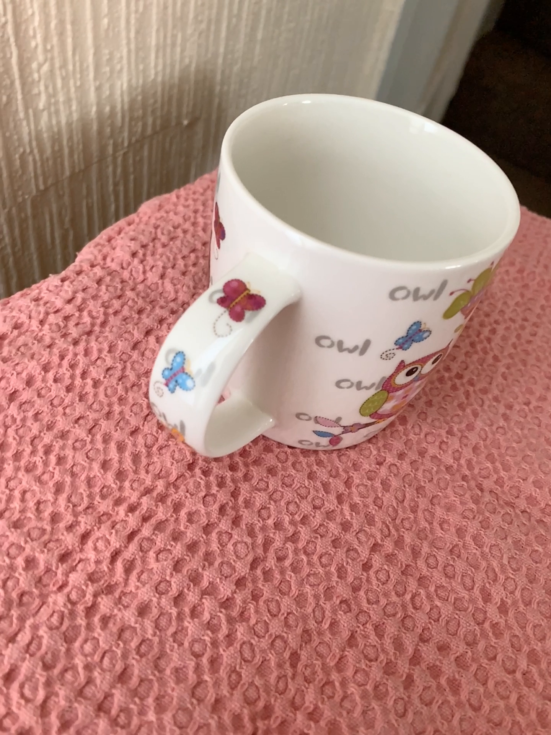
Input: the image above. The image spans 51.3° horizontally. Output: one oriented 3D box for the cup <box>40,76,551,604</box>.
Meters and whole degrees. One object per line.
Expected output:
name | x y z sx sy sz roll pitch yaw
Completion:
cup | 0.011 -0.017 0.184 0.090 0.089 0.121 35 50 17
